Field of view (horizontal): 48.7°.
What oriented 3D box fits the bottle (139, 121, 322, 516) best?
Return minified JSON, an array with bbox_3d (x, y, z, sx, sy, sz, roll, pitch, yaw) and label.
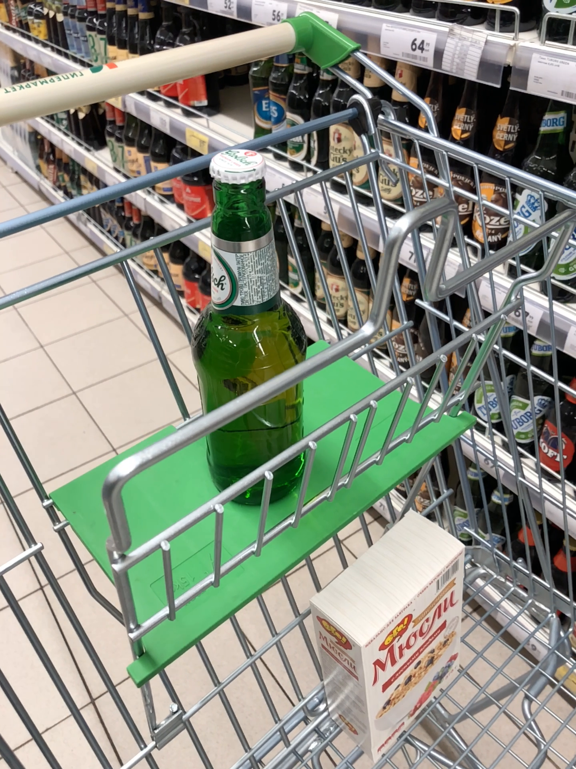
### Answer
[{"bbox_3d":[-0.029,-0.030,0.385,0.080,0.219,0.080,-2,39,2],"label":"bottle"}]
